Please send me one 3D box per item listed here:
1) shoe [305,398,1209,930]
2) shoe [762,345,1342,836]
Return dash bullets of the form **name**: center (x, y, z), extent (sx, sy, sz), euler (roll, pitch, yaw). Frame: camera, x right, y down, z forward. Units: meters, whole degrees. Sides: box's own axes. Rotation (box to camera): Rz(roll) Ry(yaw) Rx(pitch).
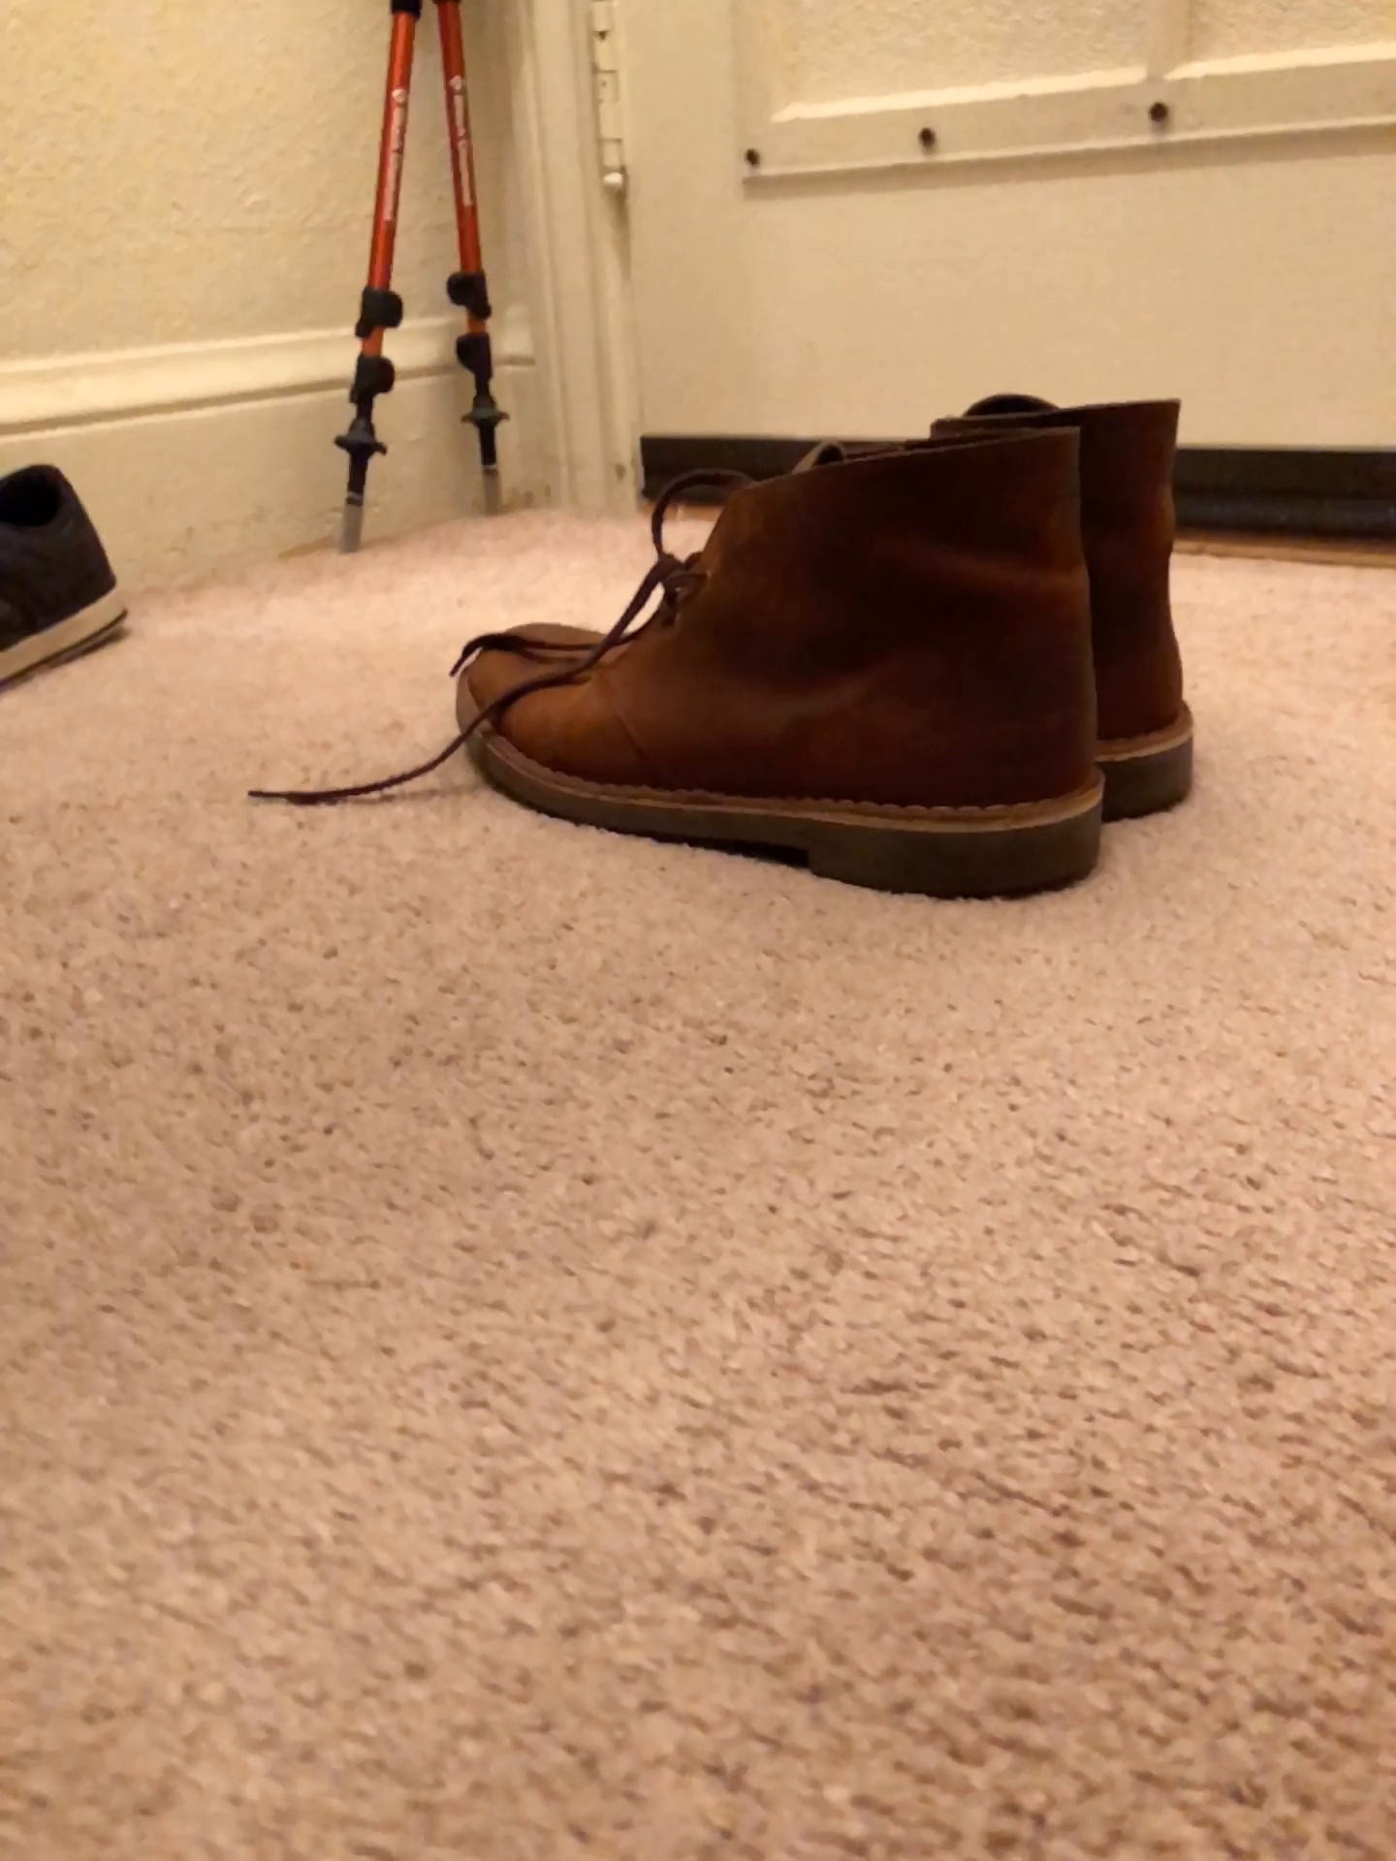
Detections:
- **shoe**: center (0.012, -0.114, 0.563), extent (0.303, 0.138, 0.111), euler (14, 29, 33)
- **shoe**: center (0.125, -0.164, 0.656), extent (0.110, 0.138, 0.305), euler (-9, 25, -11)
